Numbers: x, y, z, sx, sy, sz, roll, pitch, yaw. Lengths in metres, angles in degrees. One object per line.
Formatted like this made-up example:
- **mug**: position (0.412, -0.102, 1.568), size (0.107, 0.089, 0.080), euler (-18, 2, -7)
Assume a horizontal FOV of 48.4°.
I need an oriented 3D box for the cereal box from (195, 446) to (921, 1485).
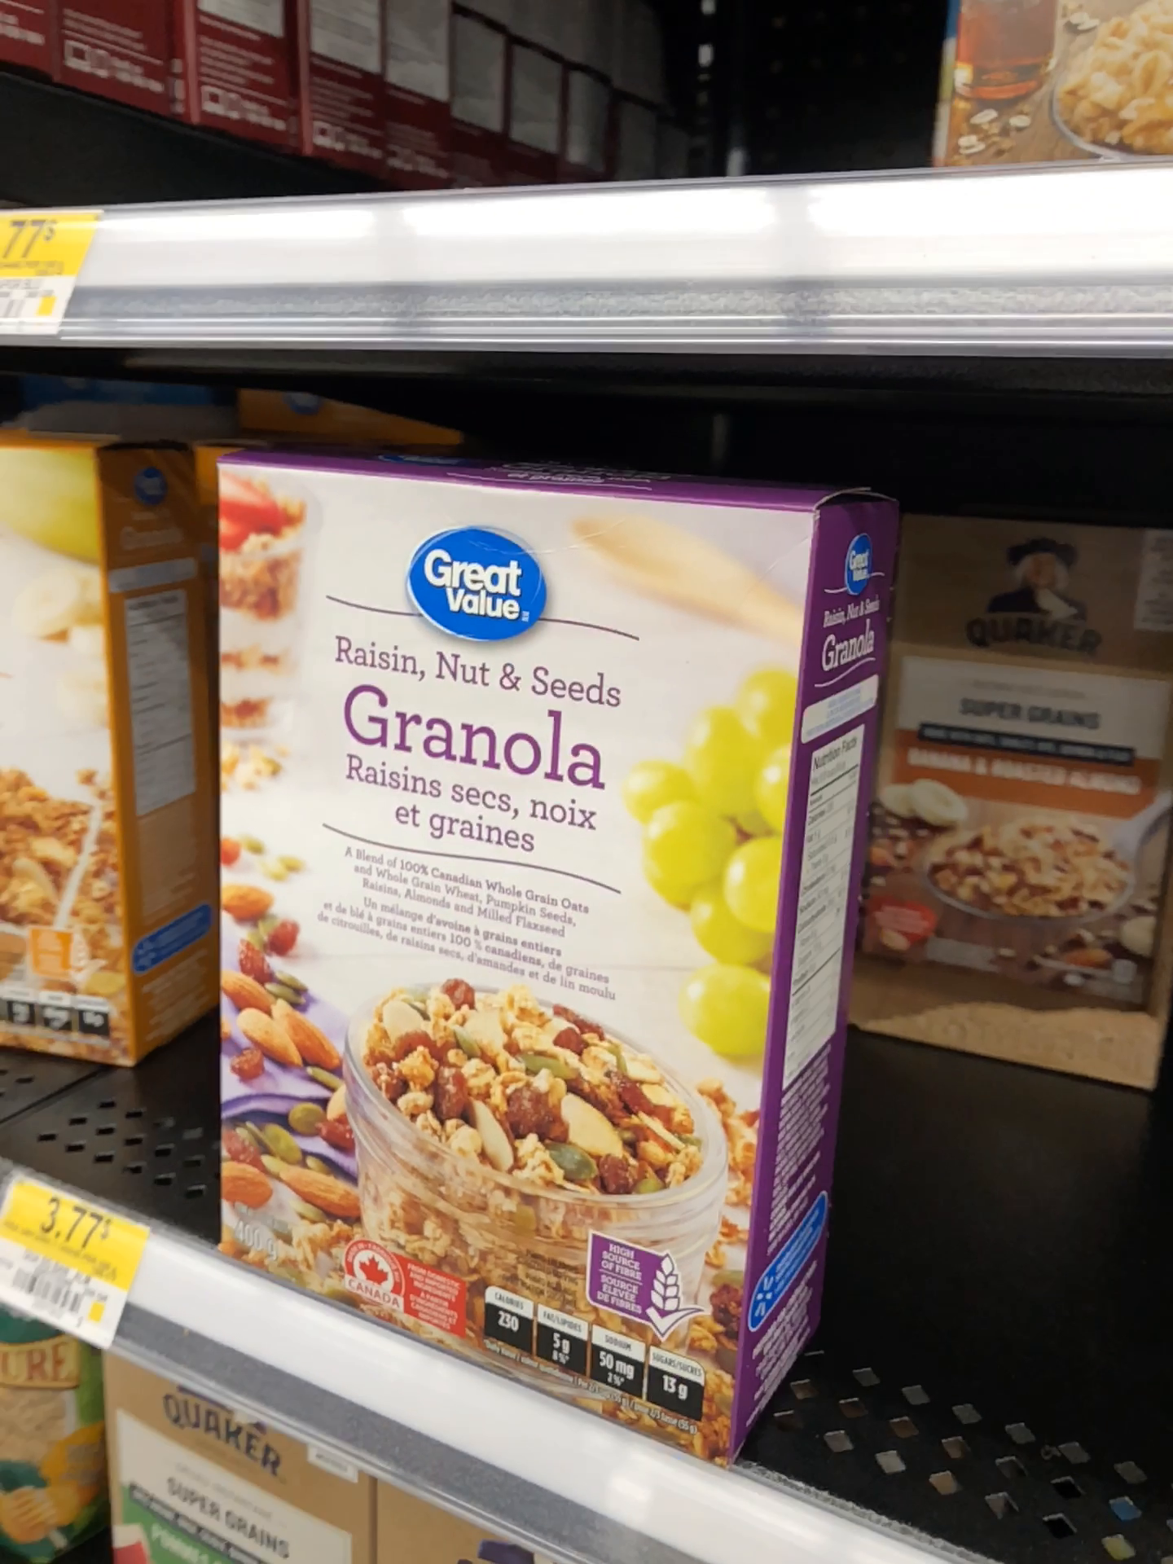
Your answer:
- **cereal box**: position (-0.014, 0.032, 0.329), size (0.160, 0.219, 0.060), euler (10, 15, 27)
